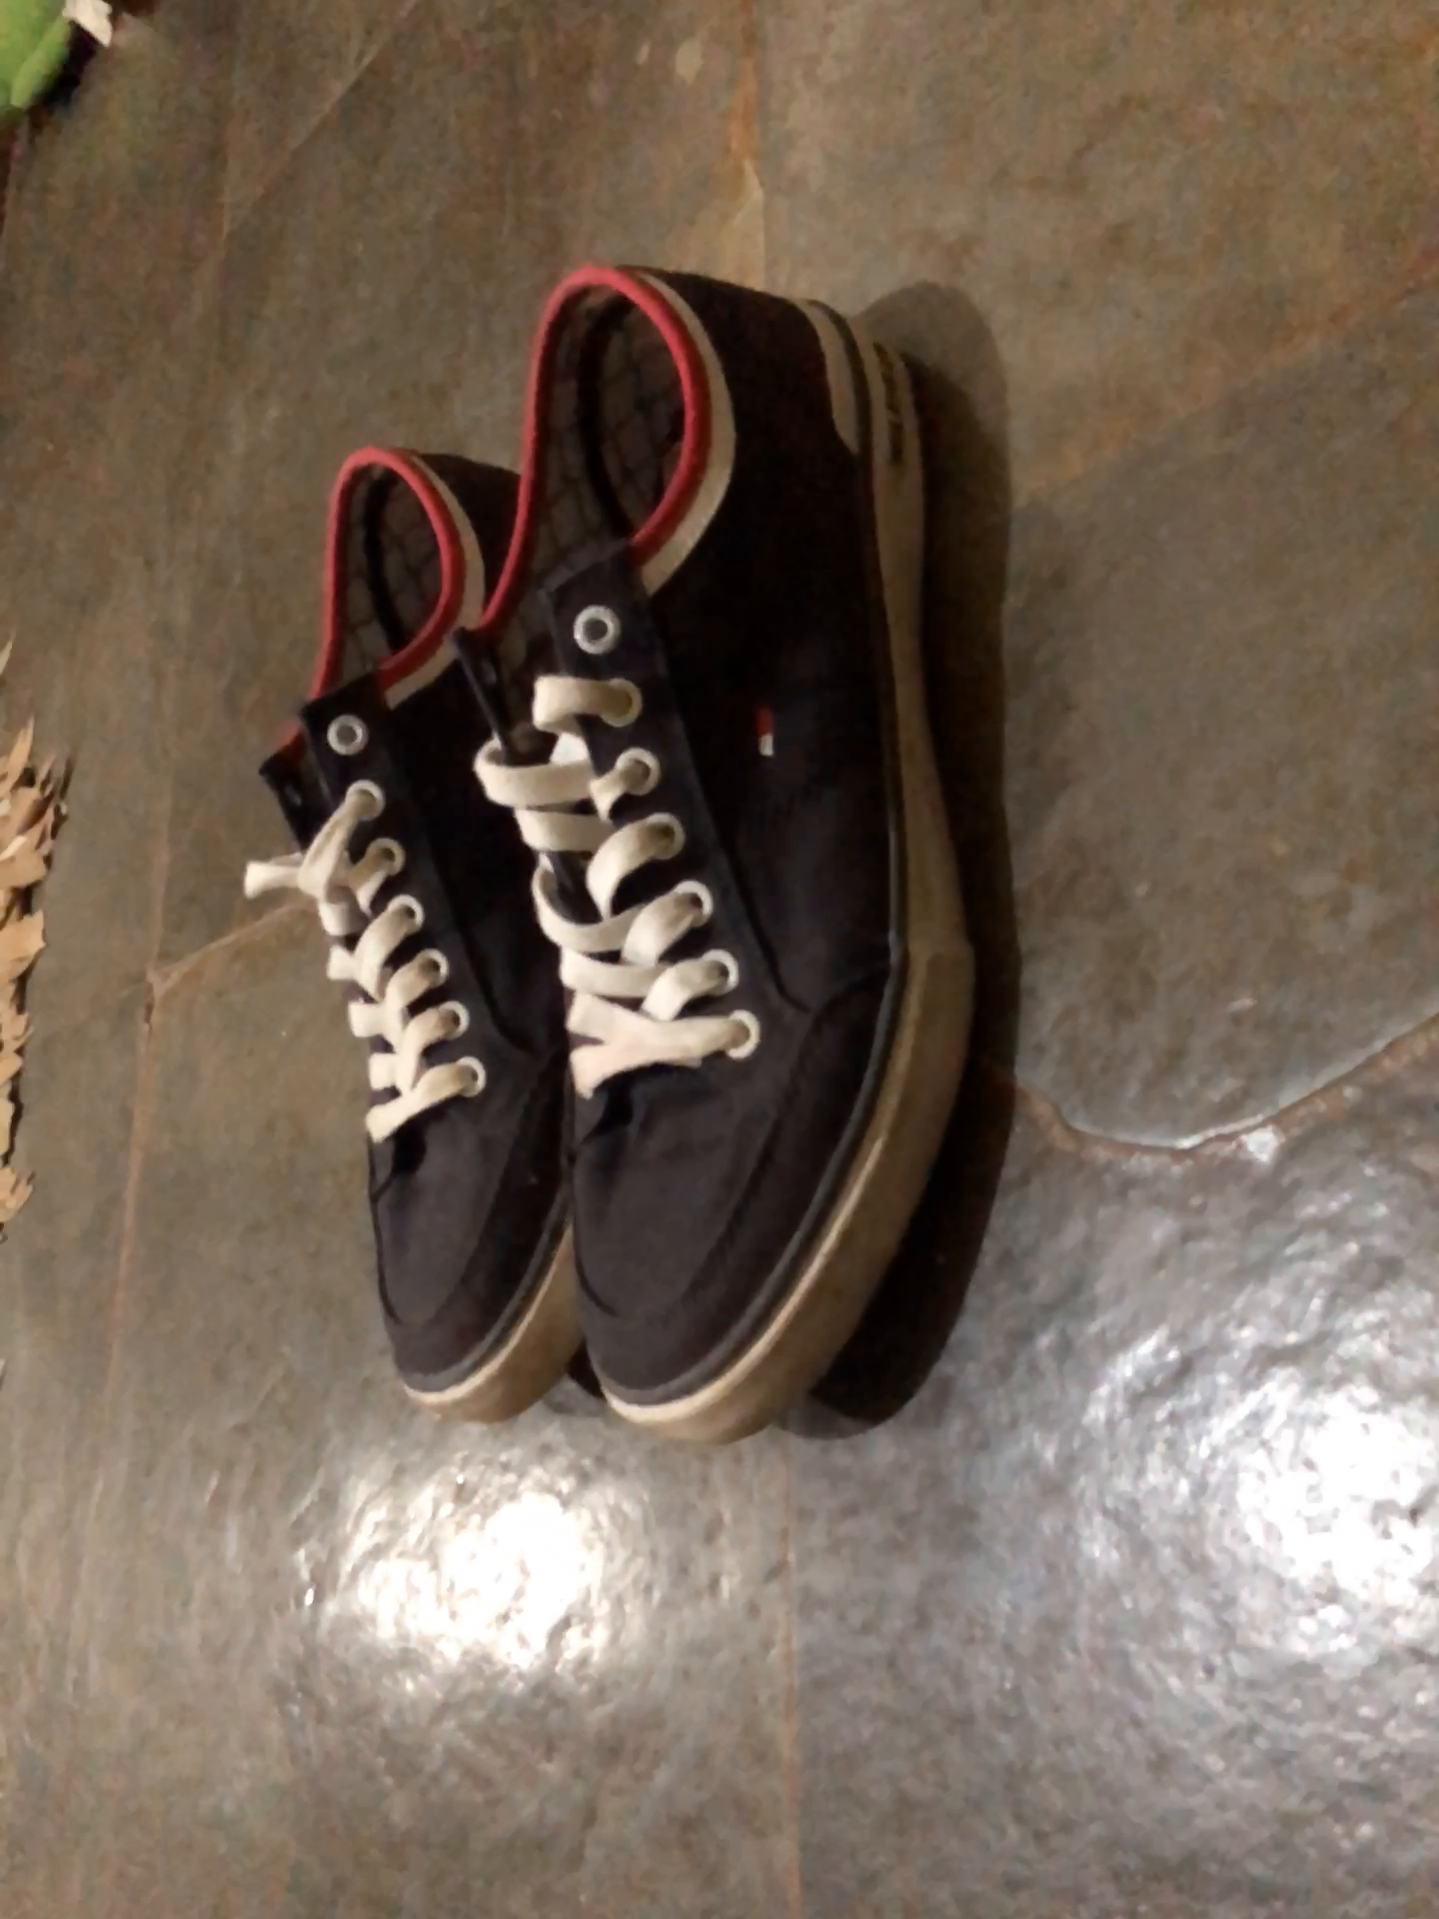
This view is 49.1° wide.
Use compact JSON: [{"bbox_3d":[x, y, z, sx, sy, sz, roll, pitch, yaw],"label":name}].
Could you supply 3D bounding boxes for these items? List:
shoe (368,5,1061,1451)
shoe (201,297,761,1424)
[{"bbox_3d":[0.001,-0.044,0.375,0.110,0.100,0.300,-15,67,47],"label":"shoe"},{"bbox_3d":[-0.066,-0.020,0.454,0.110,0.100,0.291,-20,64,45],"label":"shoe"}]
